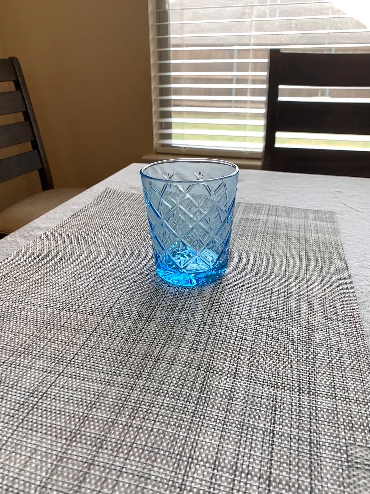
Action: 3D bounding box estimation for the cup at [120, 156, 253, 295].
[{"bbox_3d":[0.006,-0.026,0.338,0.087,0.085,0.093,0,25,0],"label":"cup"}]
